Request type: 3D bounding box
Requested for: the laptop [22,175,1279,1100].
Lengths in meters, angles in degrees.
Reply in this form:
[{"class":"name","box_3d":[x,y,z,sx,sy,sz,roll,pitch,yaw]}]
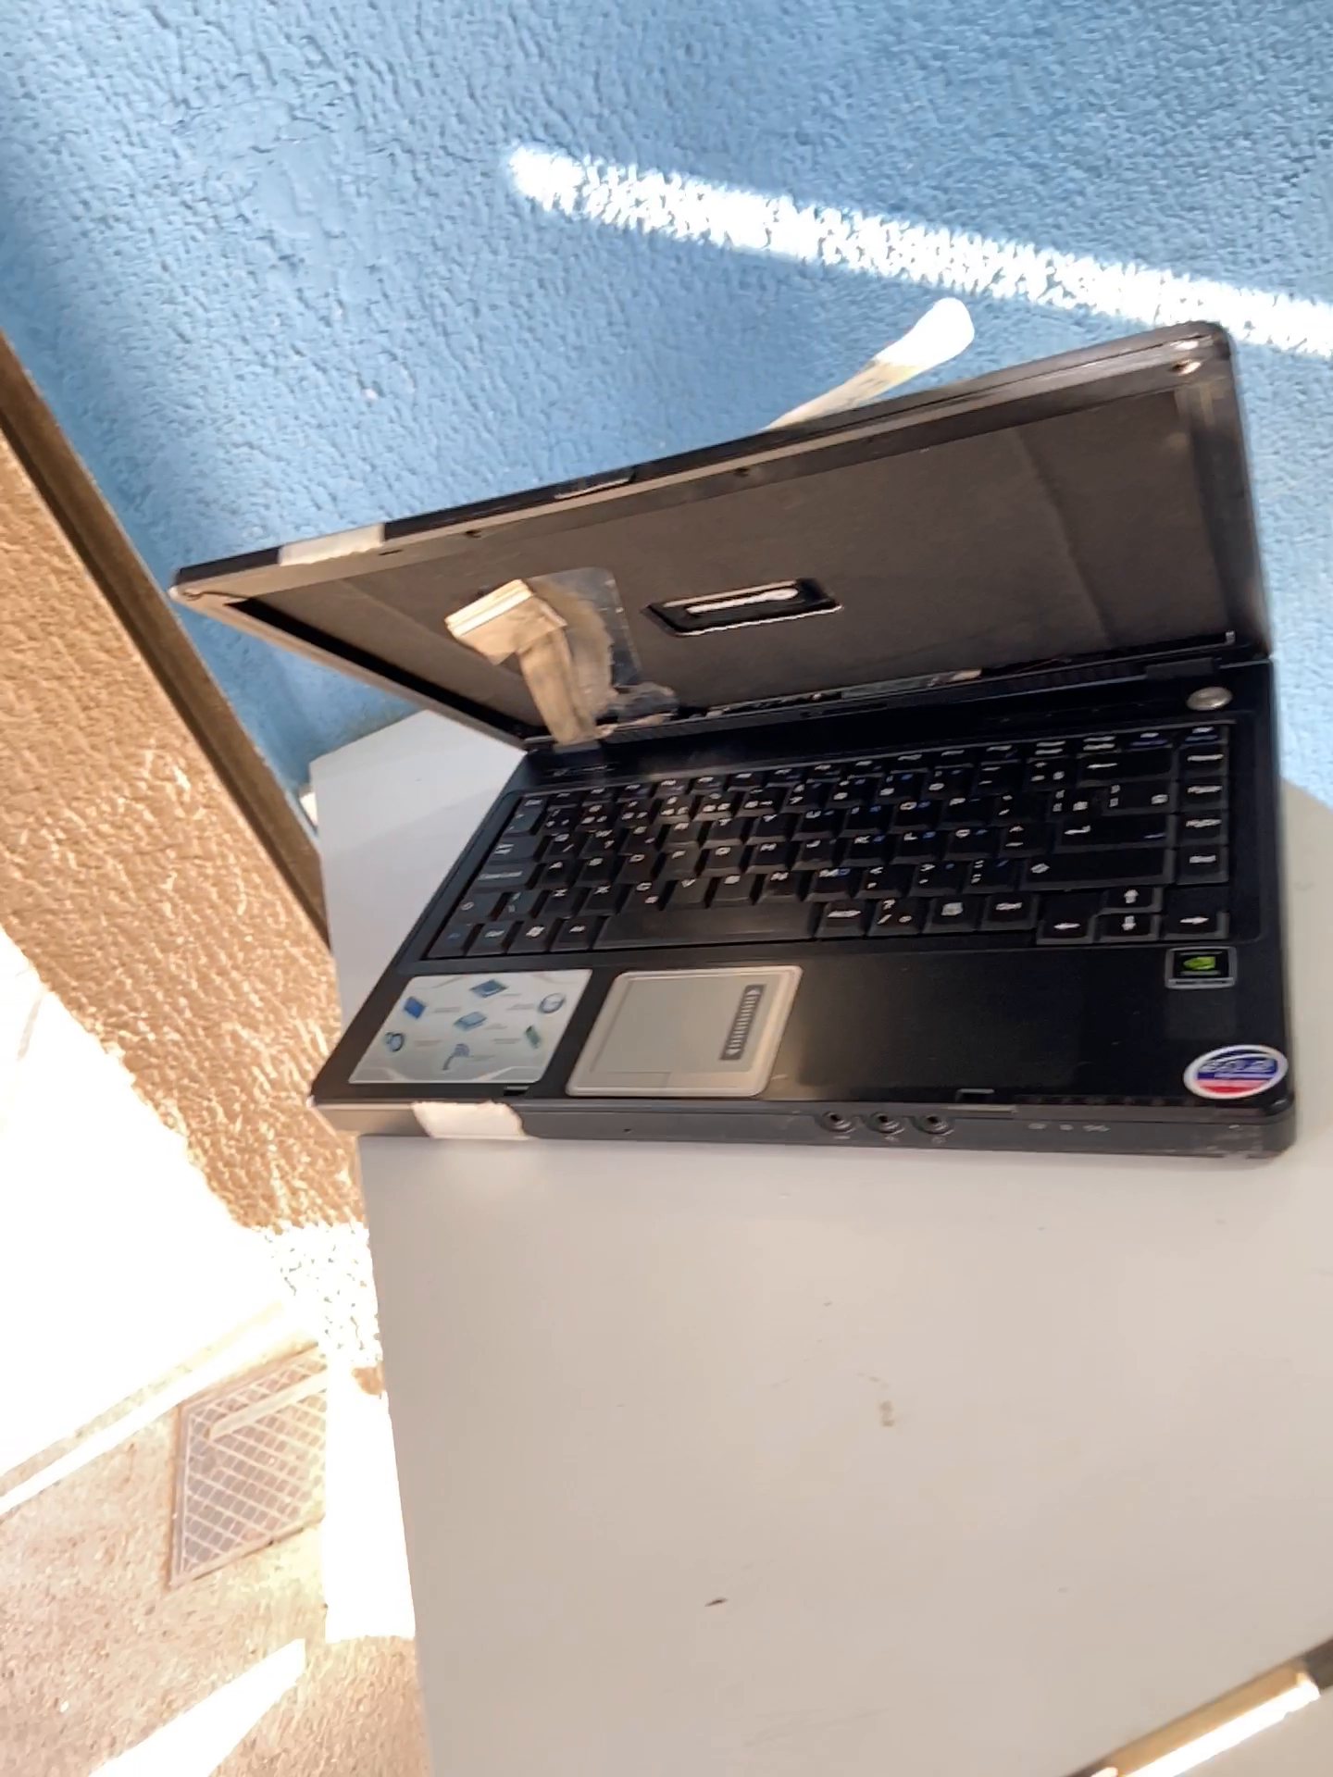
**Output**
[{"class":"laptop","box_3d":[0.019,-0.072,0.463,0.328,0.175,0.225,-4,37,26]}]
